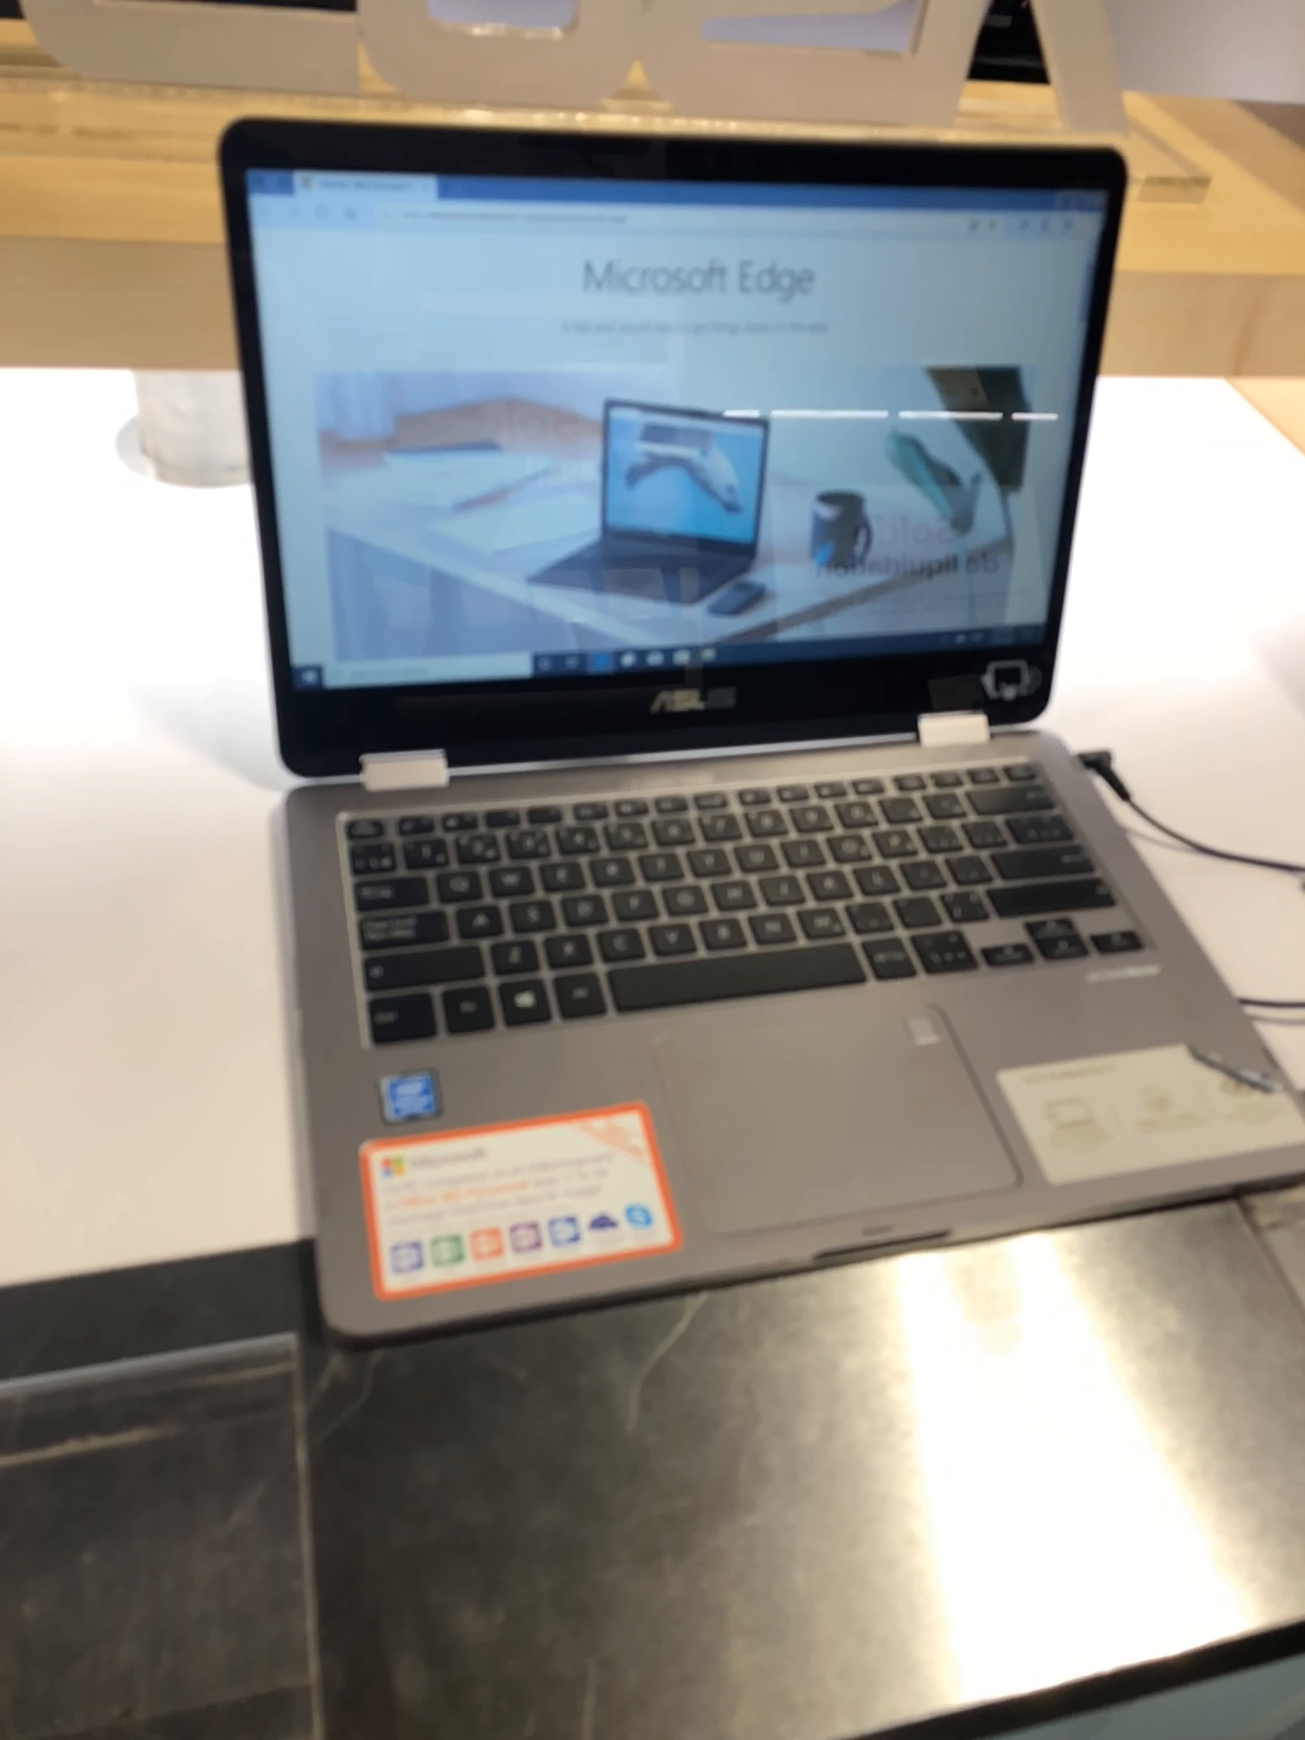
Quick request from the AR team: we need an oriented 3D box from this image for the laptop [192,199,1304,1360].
[{"bbox_3d":[0.036,-0.056,0.437,0.305,0.212,0.279,-8,42,-15],"label":"laptop"}]
